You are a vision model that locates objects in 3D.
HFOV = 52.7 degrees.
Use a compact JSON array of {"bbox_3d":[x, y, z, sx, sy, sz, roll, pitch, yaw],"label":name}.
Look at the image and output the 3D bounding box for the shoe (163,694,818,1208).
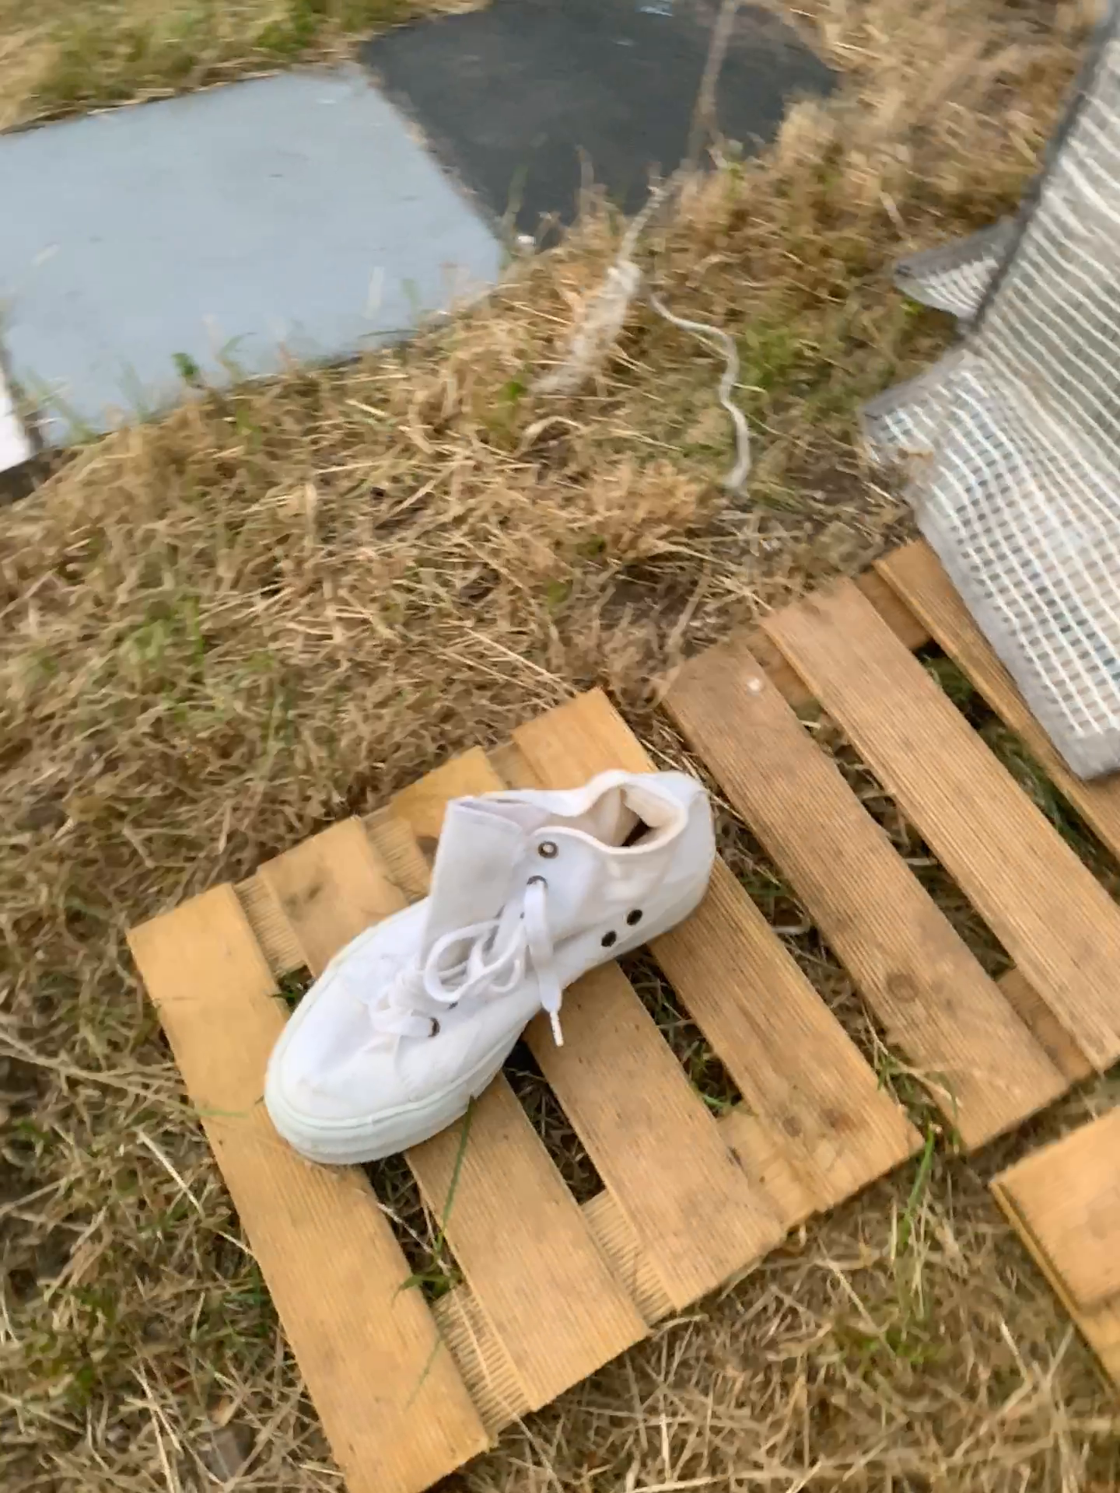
[{"bbox_3d":[-0.028,0.096,0.535,0.260,0.129,0.101,-23,63,-16],"label":"shoe"}]
